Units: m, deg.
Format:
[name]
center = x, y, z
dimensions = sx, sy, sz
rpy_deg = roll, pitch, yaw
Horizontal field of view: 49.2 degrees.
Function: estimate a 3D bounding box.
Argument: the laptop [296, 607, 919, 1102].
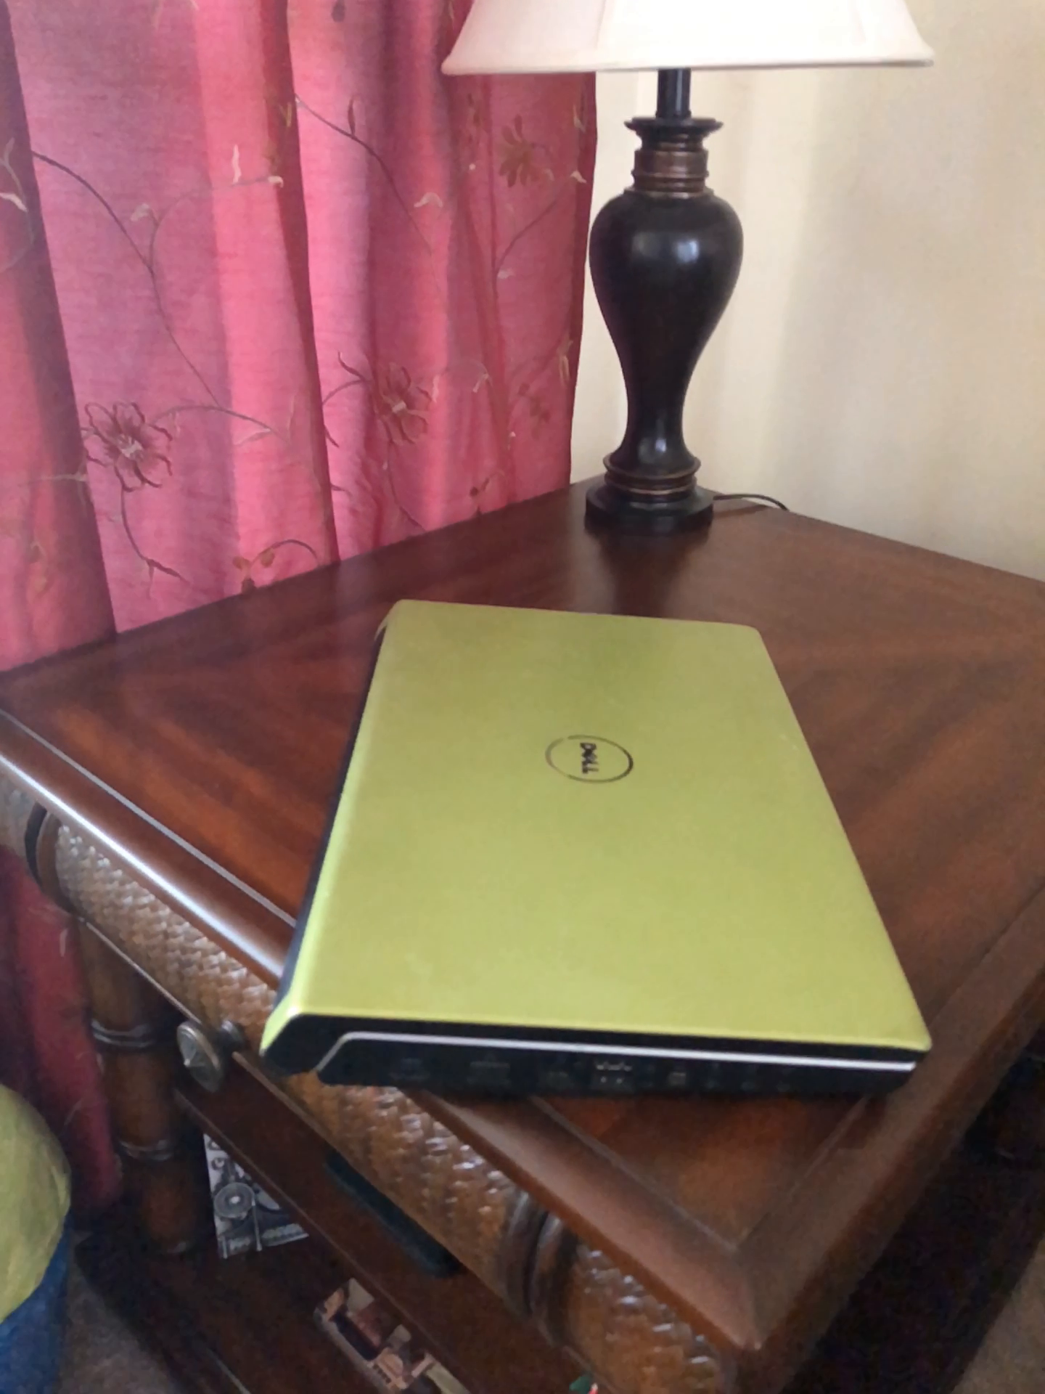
[laptop]
center = 0.034, 0.049, 0.601
dimensions = 0.236, 0.020, 0.380
rpy_deg = 5, 28, -3
